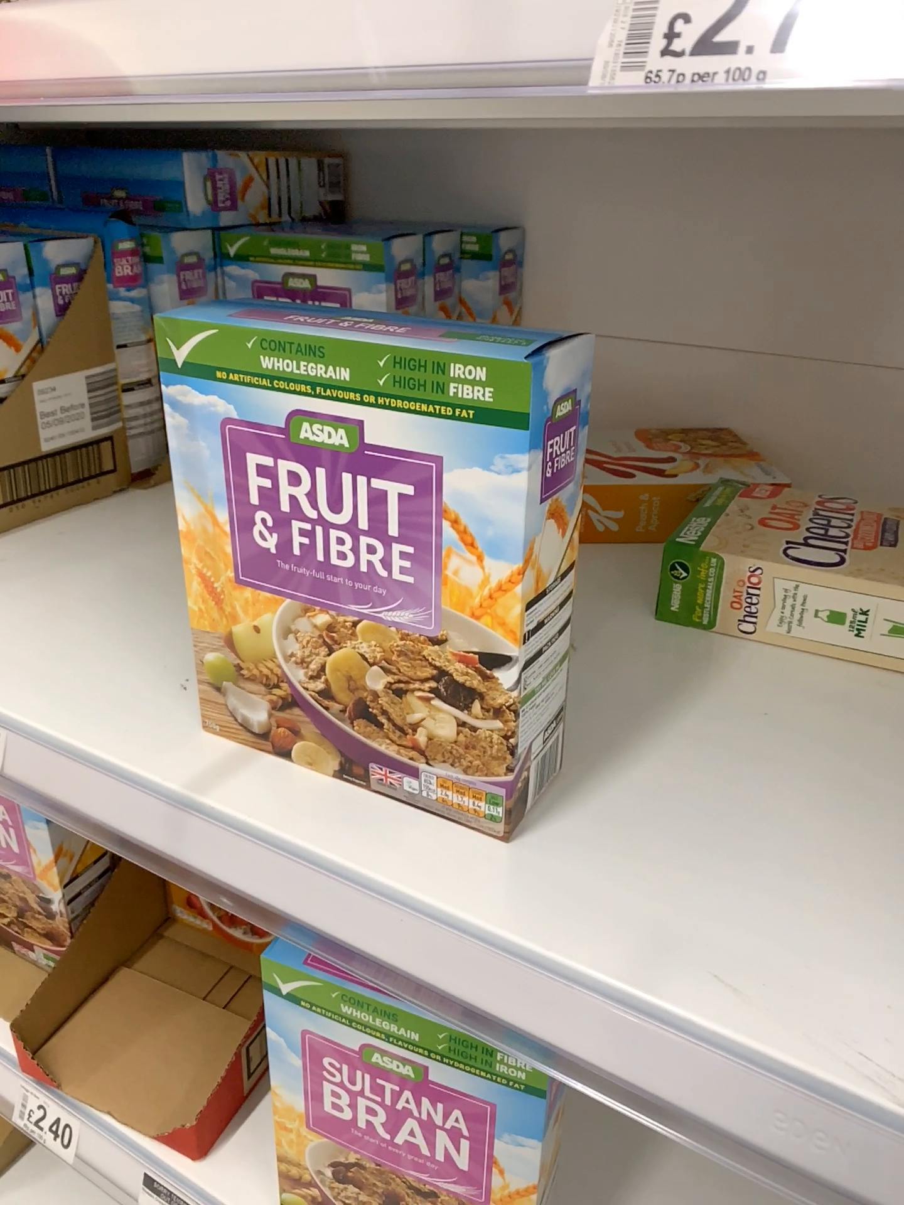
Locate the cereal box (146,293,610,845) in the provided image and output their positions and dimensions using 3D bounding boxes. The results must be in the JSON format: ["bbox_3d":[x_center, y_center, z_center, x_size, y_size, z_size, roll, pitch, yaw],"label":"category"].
[{"bbox_3d":[-0.043,-0.027,0.527,0.230,0.258,0.081,14,29,27],"label":"cereal box"}]
